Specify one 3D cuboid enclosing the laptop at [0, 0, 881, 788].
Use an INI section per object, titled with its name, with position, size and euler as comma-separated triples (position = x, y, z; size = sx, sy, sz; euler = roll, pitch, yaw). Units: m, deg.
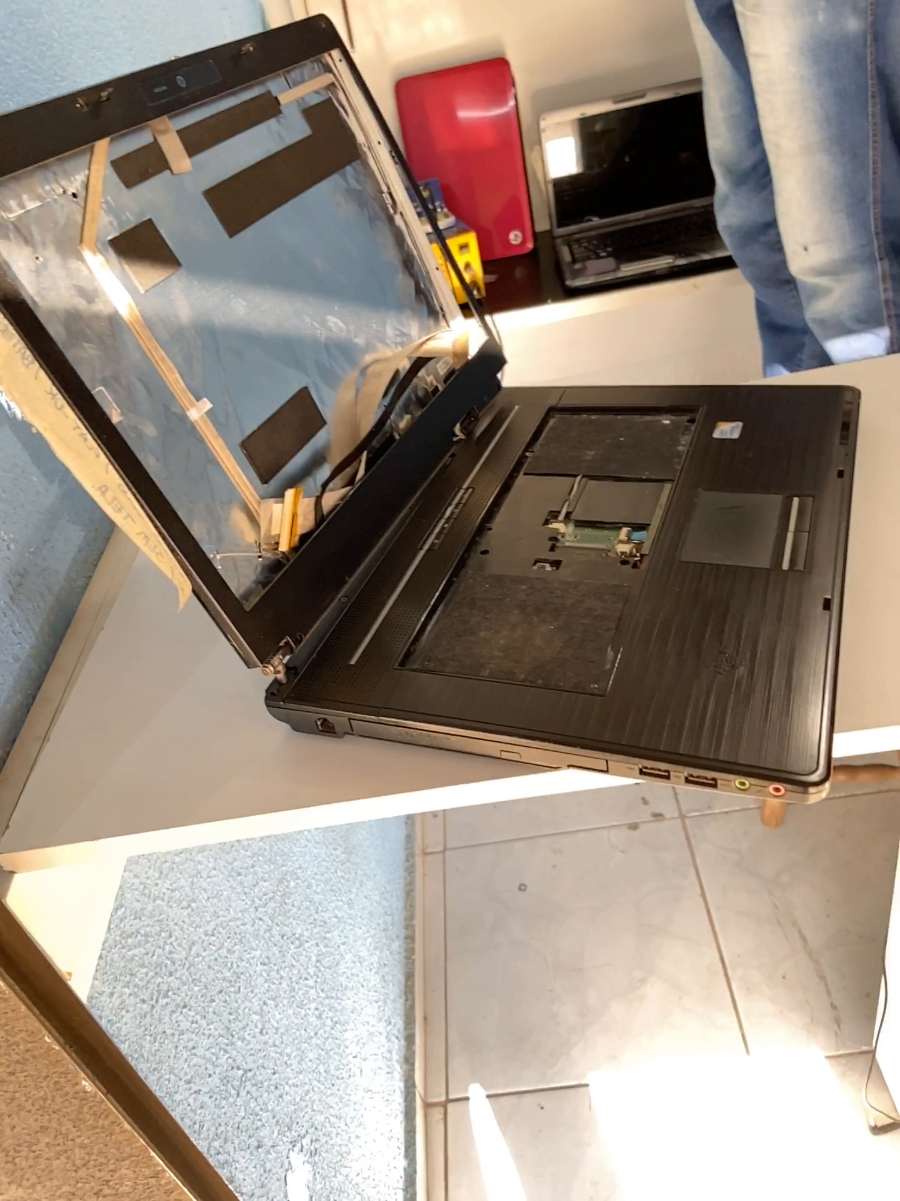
[laptop]
position = 0.025, -0.157, 0.489
size = 0.350, 0.261, 0.354
euler = 6, 40, 24
